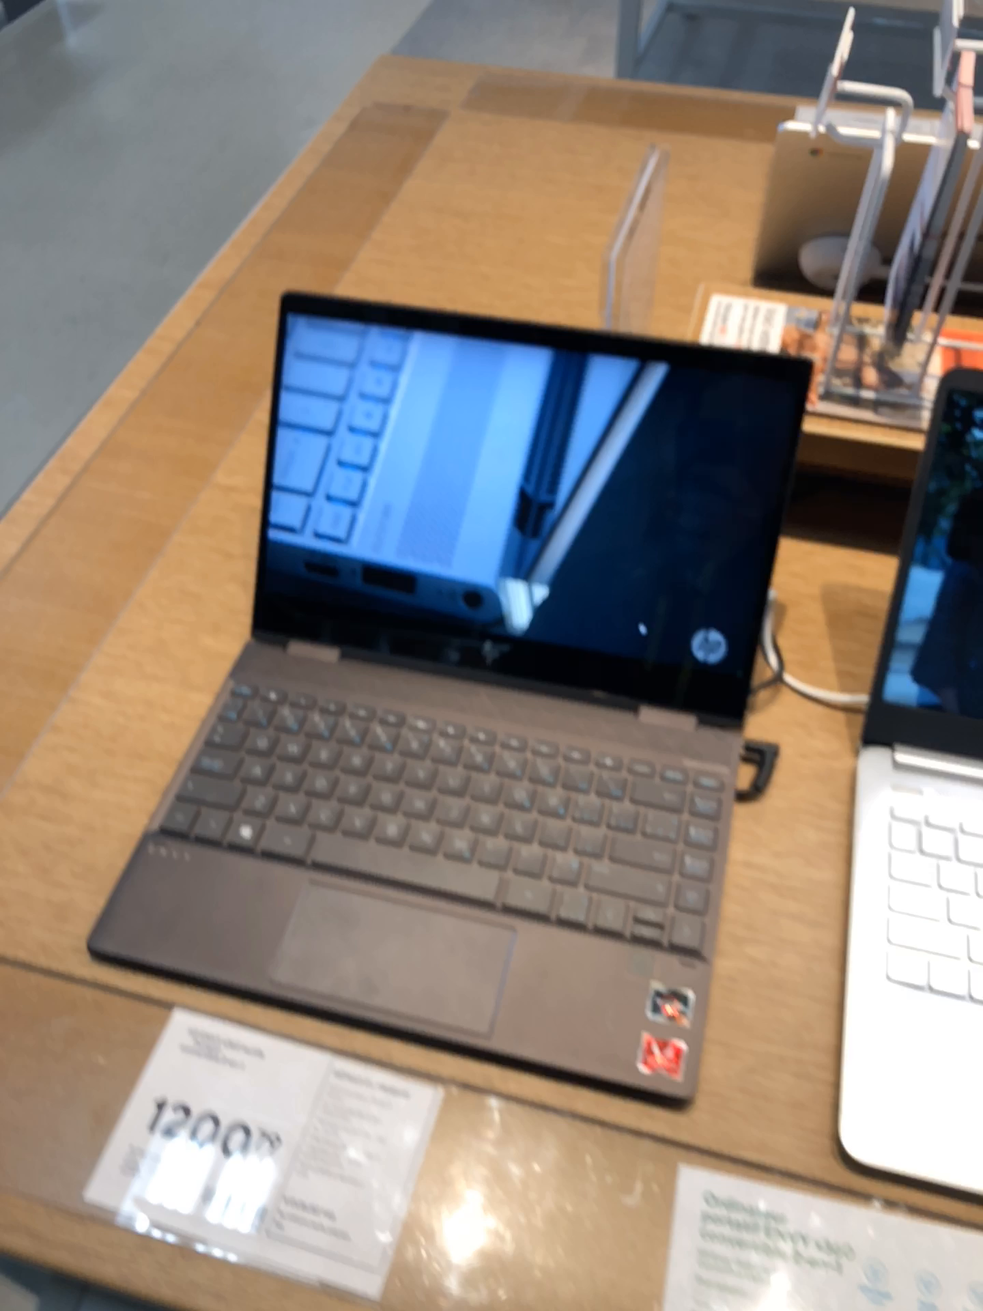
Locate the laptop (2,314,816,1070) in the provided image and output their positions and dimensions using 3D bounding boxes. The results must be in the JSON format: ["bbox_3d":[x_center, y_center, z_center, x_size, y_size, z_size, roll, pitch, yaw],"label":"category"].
[{"bbox_3d":[-0.010,-0.004,0.568,0.293,0.162,0.319,10,50,10],"label":"laptop"}]
